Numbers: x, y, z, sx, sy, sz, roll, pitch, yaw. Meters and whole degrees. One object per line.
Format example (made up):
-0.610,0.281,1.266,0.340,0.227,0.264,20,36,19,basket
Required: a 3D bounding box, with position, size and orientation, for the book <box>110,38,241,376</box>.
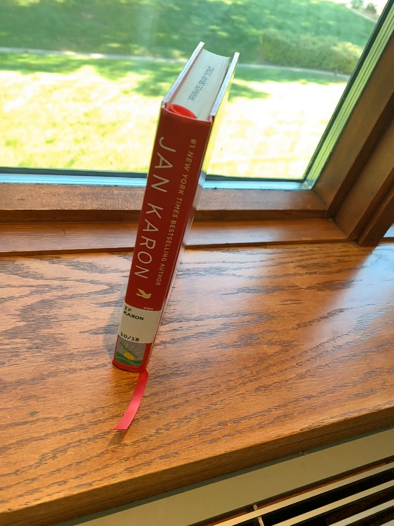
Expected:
-0.014,-0.035,0.262,0.028,0.169,0.135,15,40,0,book
